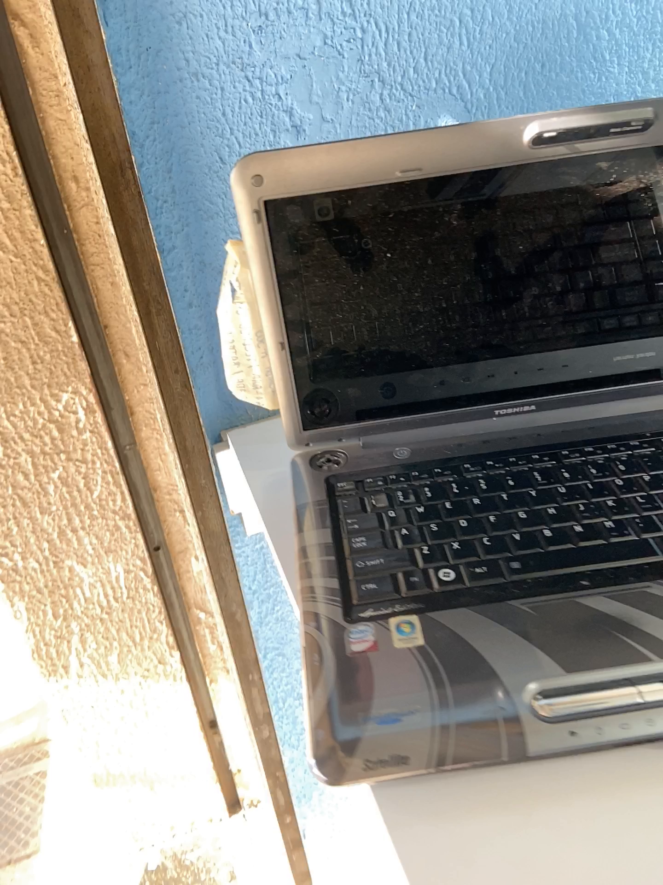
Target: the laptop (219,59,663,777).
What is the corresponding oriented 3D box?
[{"bbox_3d":[0.146,-0.040,0.364,0.358,0.235,0.260,-8,32,-1],"label":"laptop"}]
